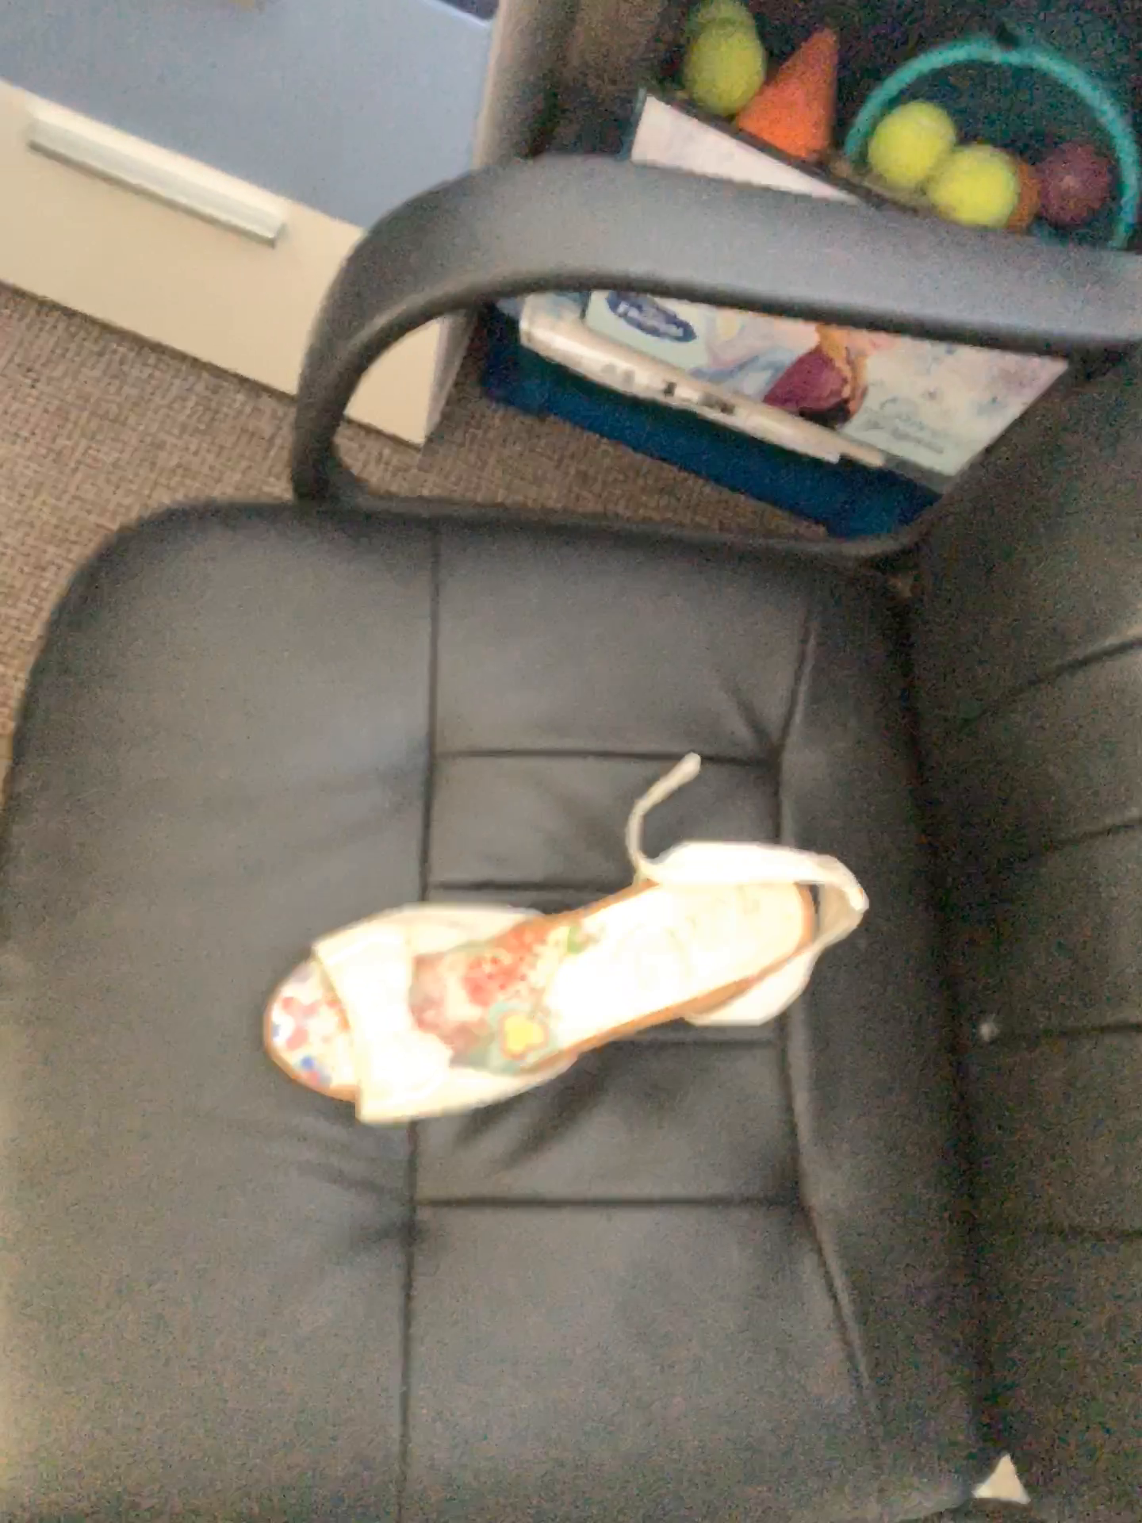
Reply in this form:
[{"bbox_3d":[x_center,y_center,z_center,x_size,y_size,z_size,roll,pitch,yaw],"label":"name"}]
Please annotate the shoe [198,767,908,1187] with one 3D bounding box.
[{"bbox_3d":[-0.019,0.095,0.499,0.240,0.189,0.100,-10,76,-14],"label":"shoe"}]
